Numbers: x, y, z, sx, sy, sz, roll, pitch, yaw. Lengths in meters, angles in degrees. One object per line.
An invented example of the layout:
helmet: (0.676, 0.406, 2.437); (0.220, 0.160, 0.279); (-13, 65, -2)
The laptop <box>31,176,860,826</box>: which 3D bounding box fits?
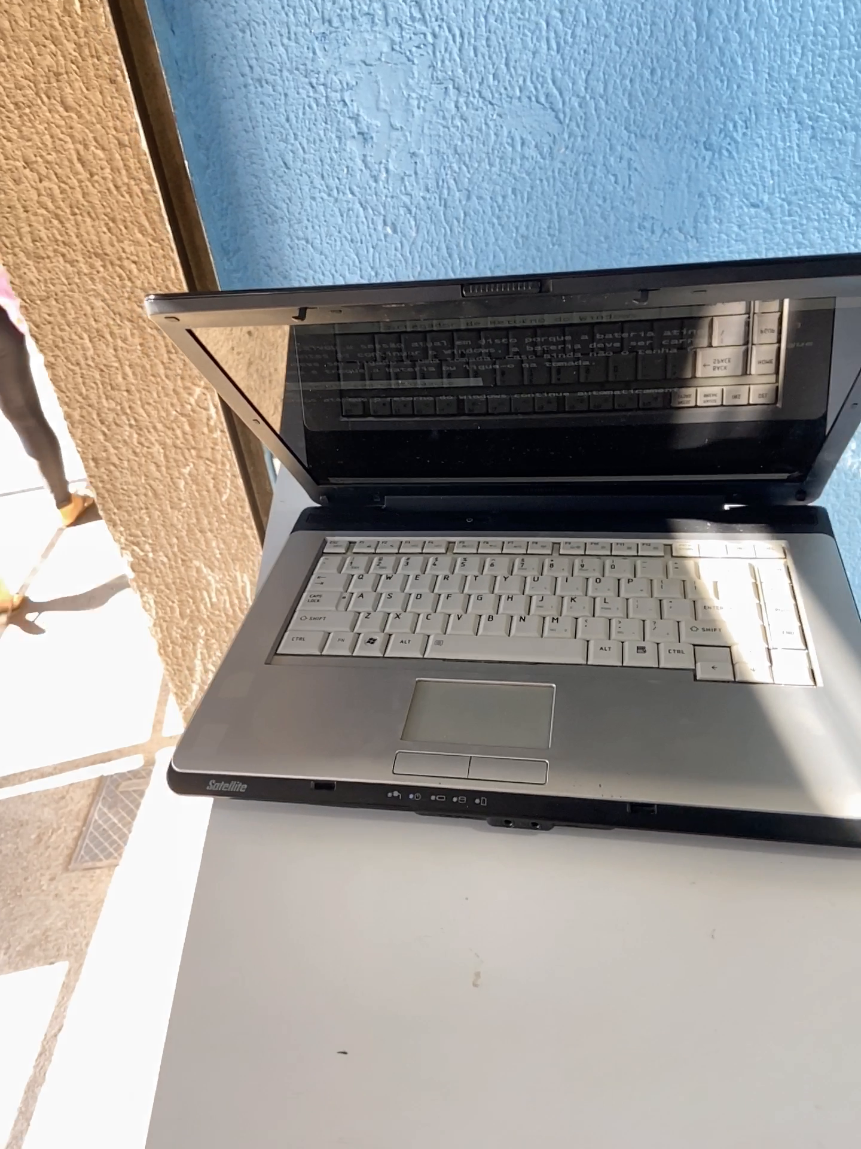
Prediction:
laptop: (0.048, -0.053, 0.459); (0.351, 0.202, 0.247); (1, 37, 13)
